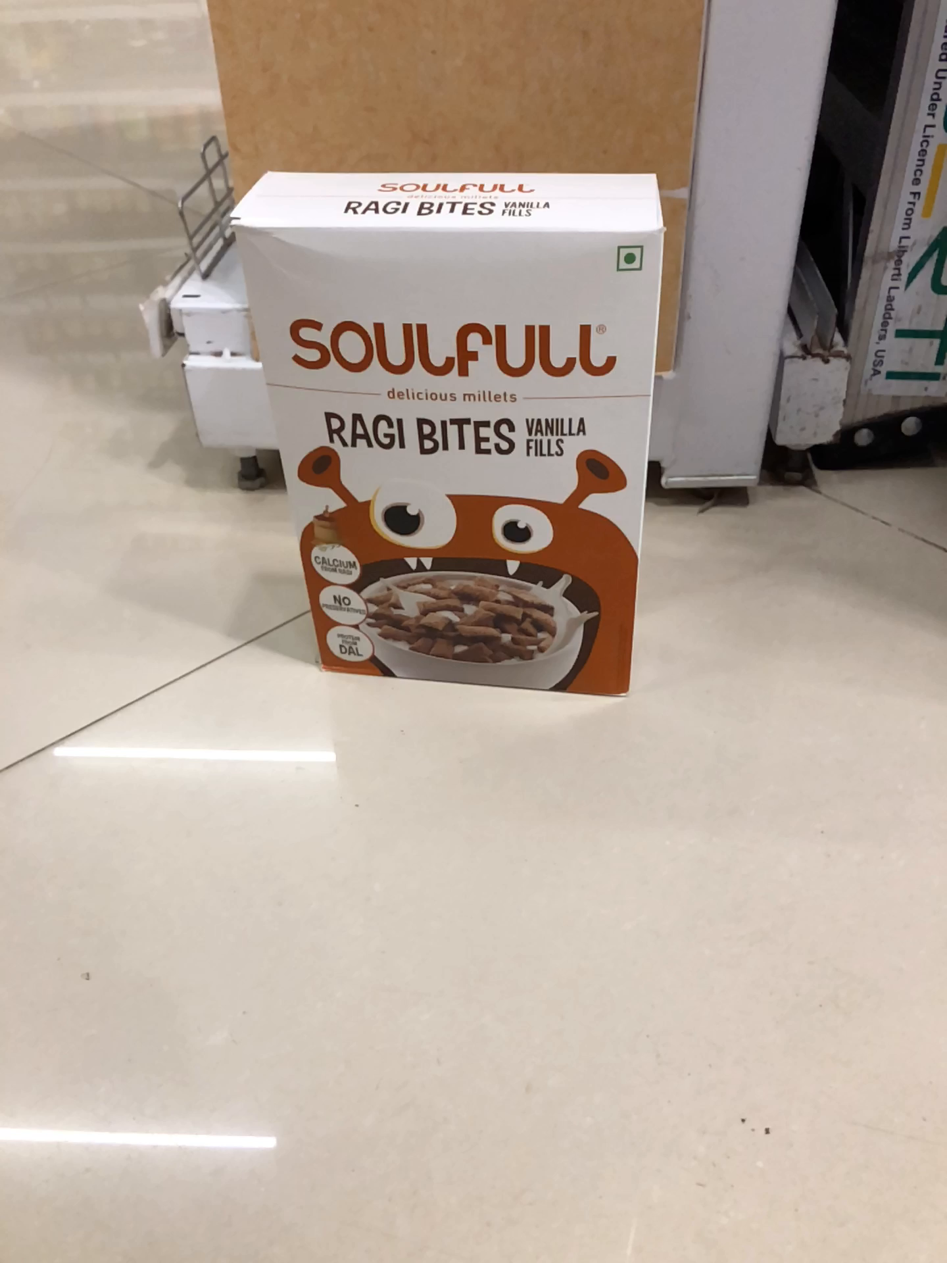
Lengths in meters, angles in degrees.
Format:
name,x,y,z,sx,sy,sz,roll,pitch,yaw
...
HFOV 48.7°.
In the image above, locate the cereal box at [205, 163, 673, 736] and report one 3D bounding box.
name,x,y,z,sx,sy,sz,roll,pitch,yaw
cereal box,-0.006,-0.073,0.481,0.170,0.248,0.071,4,40,8
